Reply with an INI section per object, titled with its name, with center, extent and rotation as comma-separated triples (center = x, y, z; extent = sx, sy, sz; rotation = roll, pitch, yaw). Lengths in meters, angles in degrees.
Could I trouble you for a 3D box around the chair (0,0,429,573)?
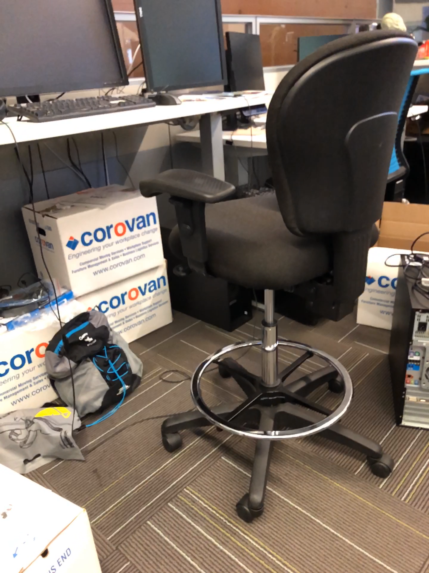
[chair]
center = 0.058, -0.043, 1.259
extent = 0.962, 1.104, 0.893
rotation = 18, 32, 38
